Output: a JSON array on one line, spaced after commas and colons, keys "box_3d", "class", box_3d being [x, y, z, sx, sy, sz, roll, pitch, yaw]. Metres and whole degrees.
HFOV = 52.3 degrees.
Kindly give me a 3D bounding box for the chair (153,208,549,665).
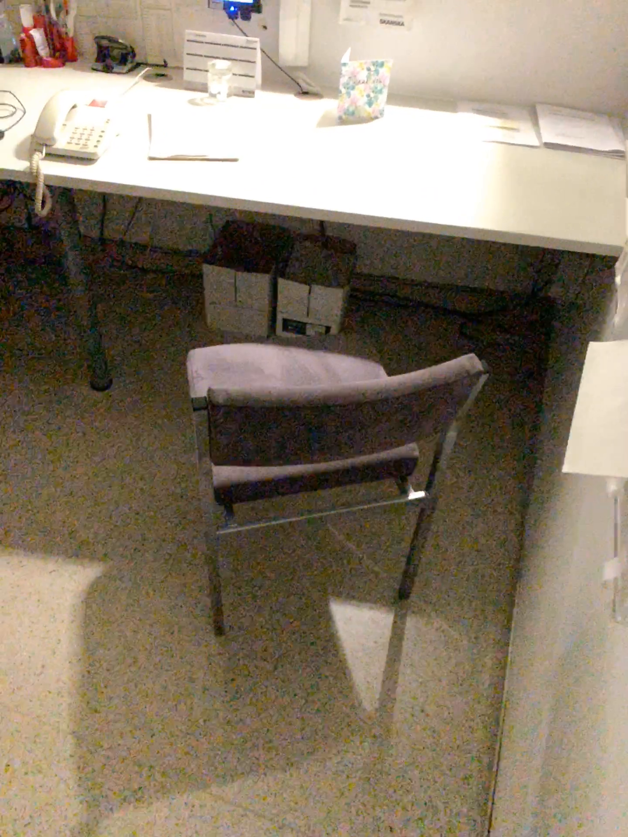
[{"box_3d": [-0.004, 0.032, 1.306, 0.540, 0.693, 0.545, -6, 44, -12], "class": "chair"}]
